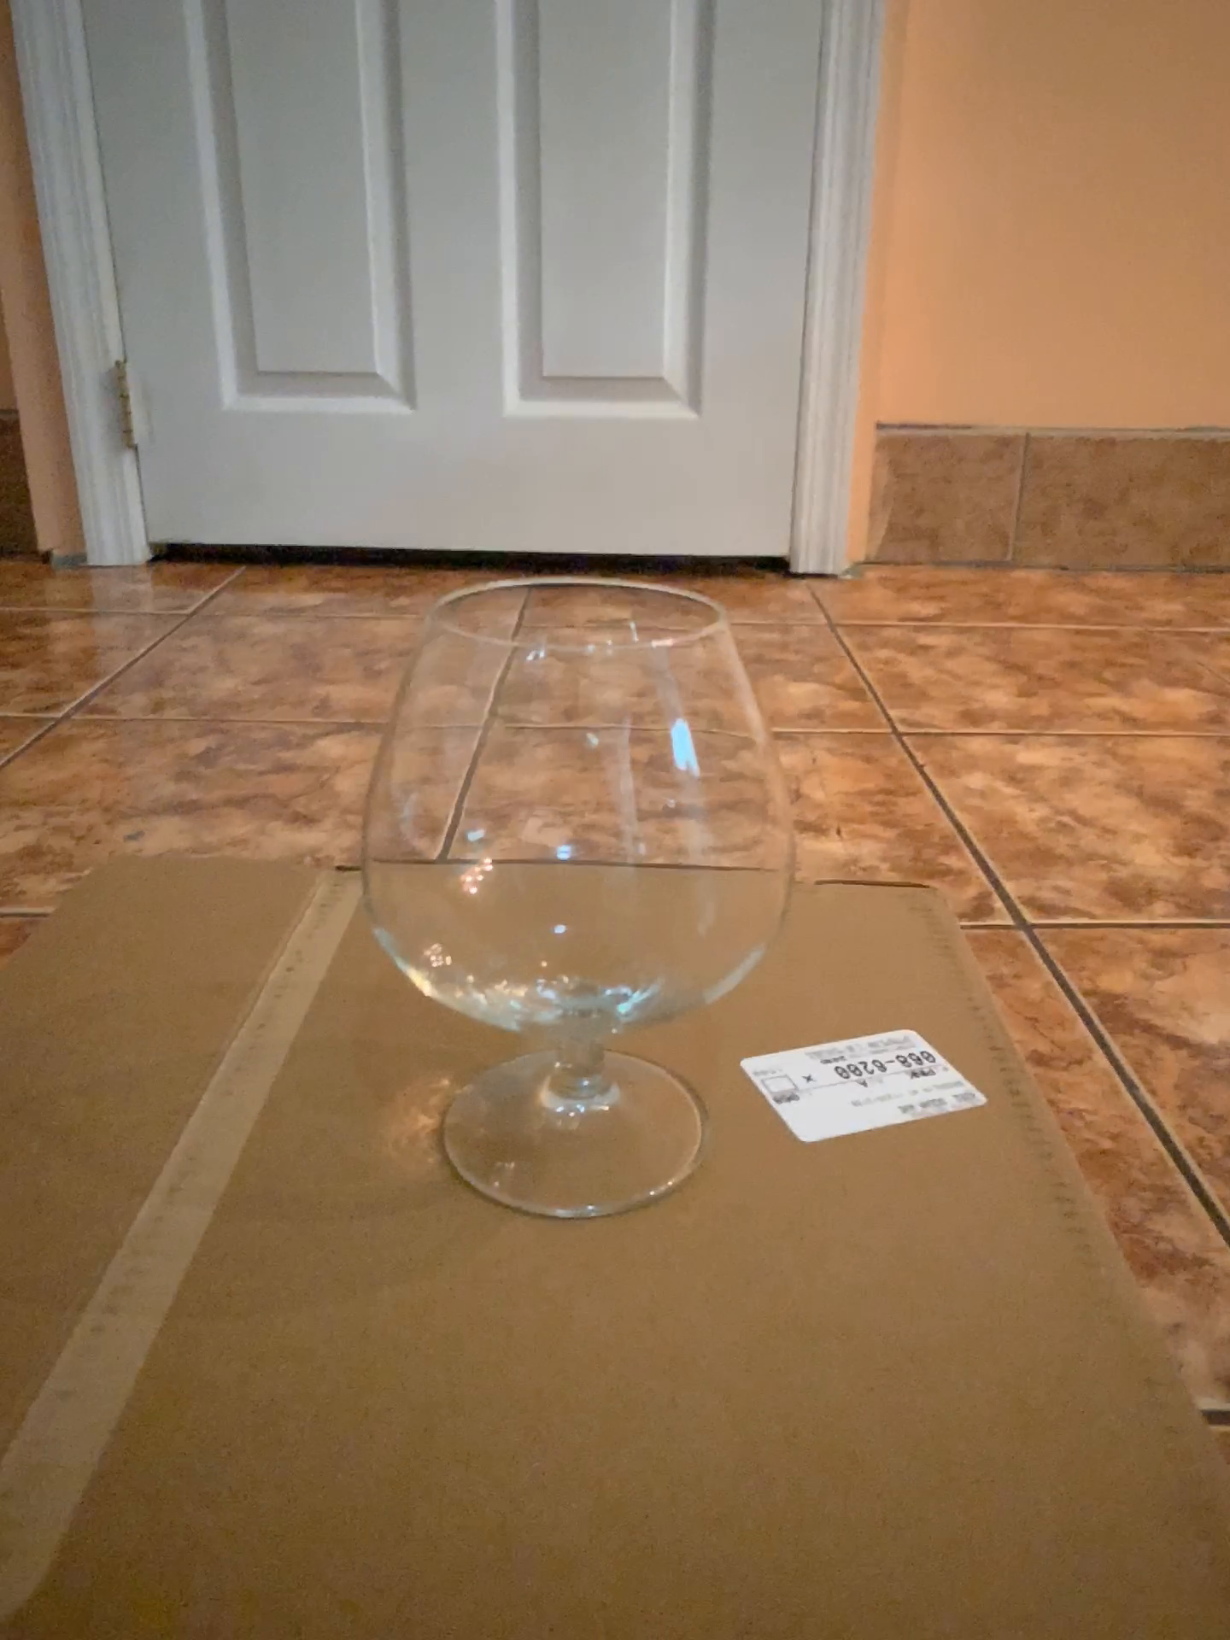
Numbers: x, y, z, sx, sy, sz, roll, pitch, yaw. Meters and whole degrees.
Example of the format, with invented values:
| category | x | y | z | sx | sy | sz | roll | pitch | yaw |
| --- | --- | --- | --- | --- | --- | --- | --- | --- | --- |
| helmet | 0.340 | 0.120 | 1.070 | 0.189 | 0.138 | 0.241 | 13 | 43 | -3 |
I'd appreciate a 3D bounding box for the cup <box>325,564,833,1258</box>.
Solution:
| category | x | y | z | sx | sy | sz | roll | pitch | yaw |
| --- | --- | --- | --- | --- | --- | --- | --- | --- | --- |
| cup | -0.010 | 0.021 | 0.328 | 0.105 | 0.158 | 0.085 | 0 | 22 | -2 |
